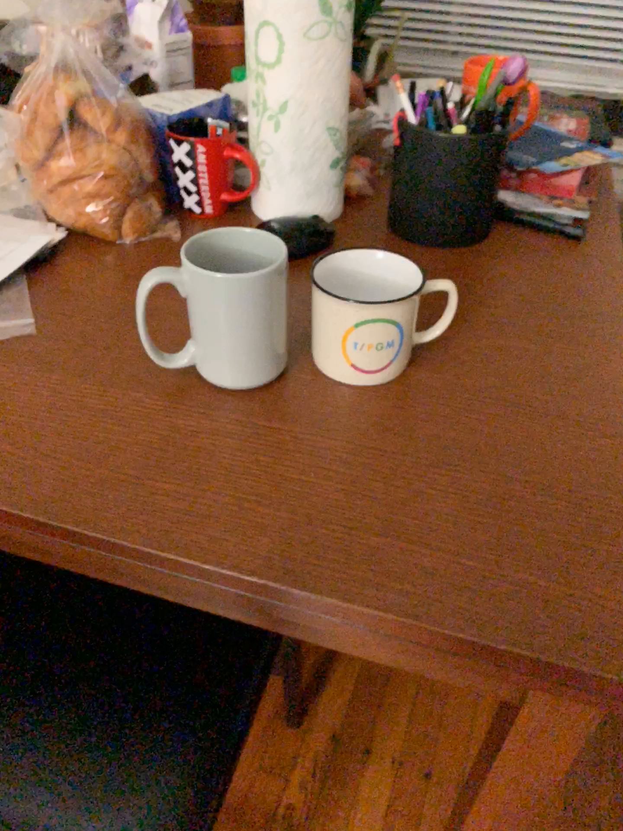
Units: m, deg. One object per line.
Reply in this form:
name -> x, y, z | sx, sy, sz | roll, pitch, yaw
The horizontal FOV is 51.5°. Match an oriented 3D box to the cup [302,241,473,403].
cup -> 0.058, -0.082, 0.566 | 0.130, 0.099, 0.101 | 1, 41, -1

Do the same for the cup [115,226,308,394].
cup -> -0.075, -0.089, 0.542 | 0.140, 0.099, 0.101 | 1, 41, -1
